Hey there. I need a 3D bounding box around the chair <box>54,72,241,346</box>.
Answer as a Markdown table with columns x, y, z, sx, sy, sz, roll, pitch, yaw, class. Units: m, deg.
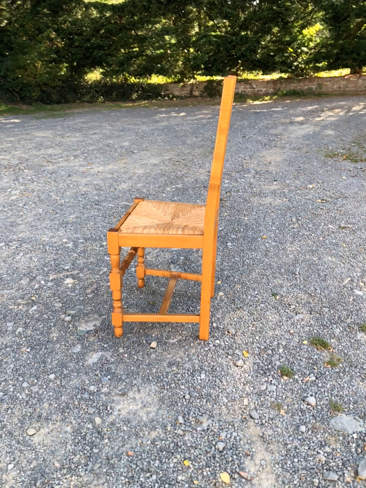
| x | y | z | sx | sy | sz | roll | pitch | yaw | class |
| --- | --- | --- | --- | --- | --- | --- | --- | --- | --- |
| -0.071 | -0.165 | 1.512 | 0.520 | 0.885 | 0.533 | 3 | 24 | 7 | chair |
